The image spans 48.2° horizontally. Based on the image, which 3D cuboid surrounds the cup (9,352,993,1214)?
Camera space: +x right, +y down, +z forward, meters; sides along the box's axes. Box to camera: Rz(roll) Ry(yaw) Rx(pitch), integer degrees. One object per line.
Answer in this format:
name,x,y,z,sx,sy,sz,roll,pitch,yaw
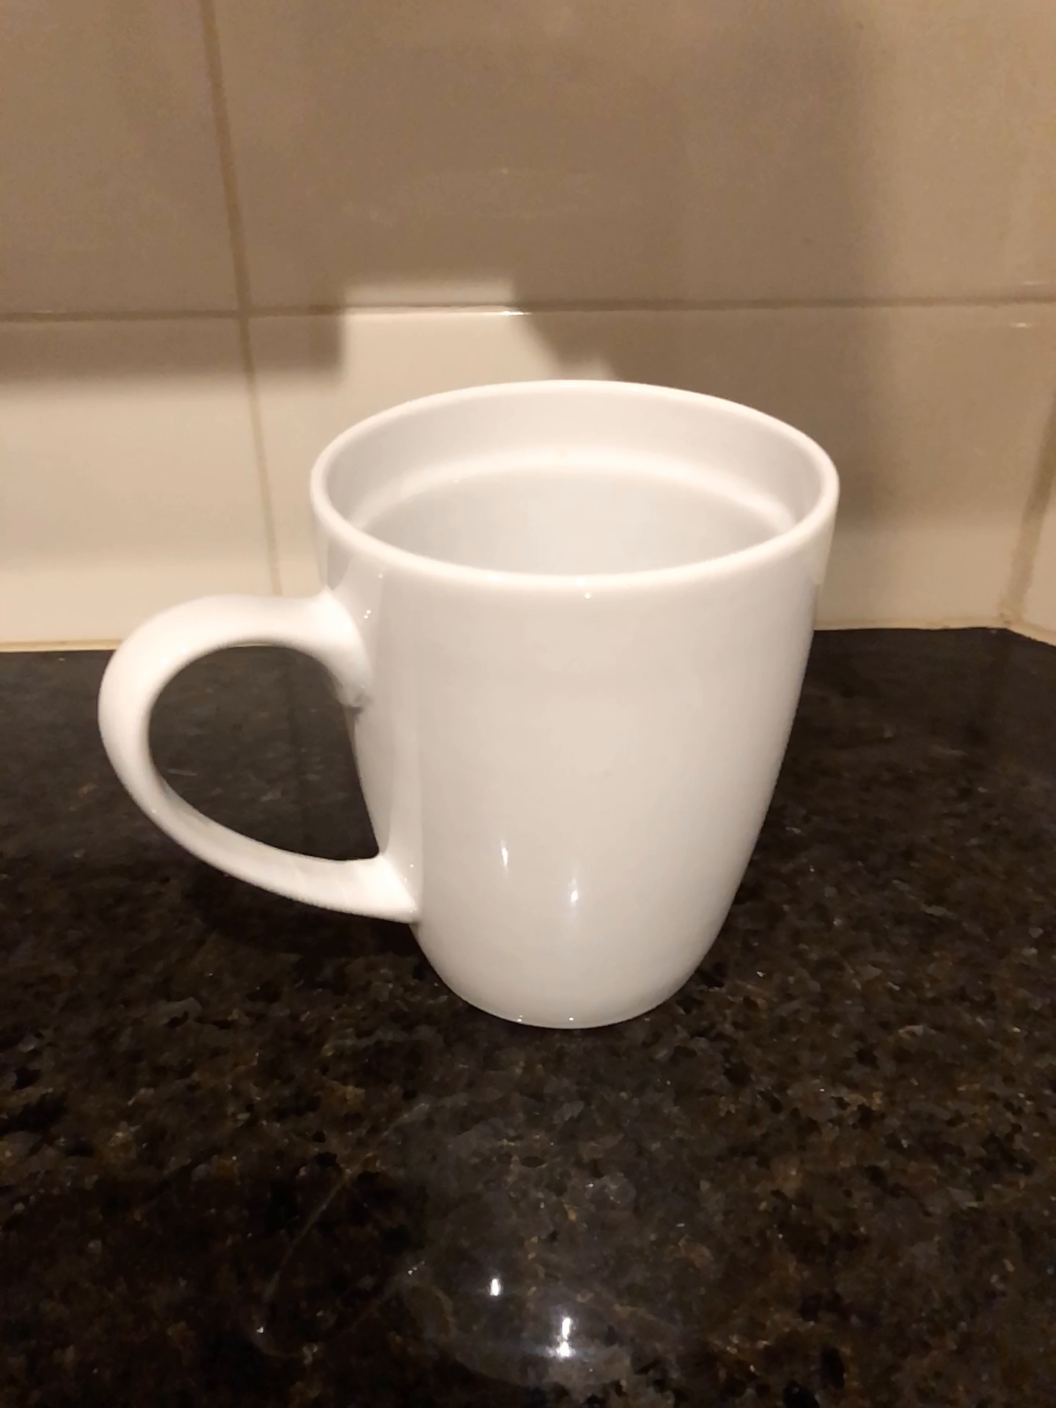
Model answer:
cup,-0.009,0.001,0.210,0.130,0.090,0.090,-14,35,-21
